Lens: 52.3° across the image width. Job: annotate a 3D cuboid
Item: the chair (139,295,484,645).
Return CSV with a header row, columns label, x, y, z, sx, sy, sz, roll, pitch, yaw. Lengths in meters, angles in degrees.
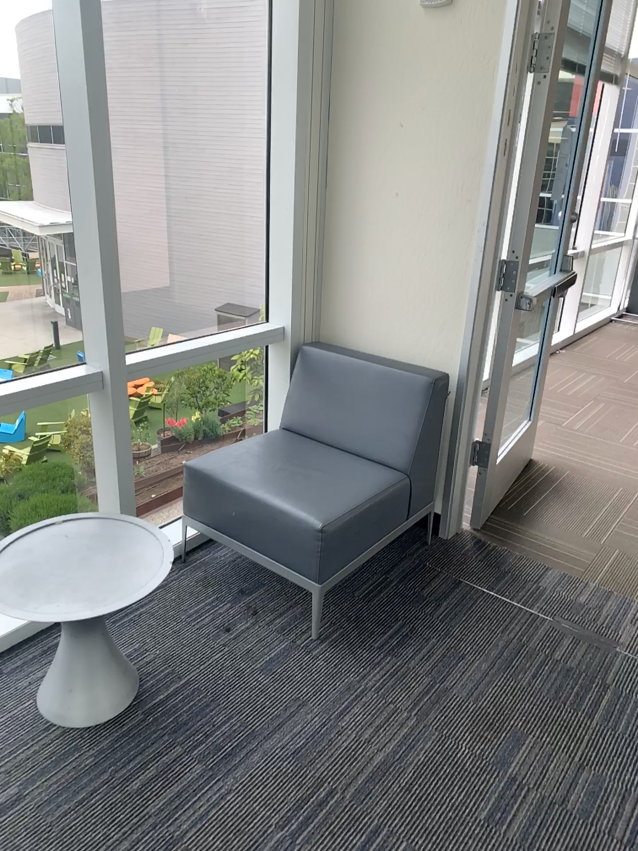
label,x,y,z,sx,sy,sz,roll,pitch,yaw
chair,-0.028,0.066,2.829,1.003,0.995,1.002,18,27,34
